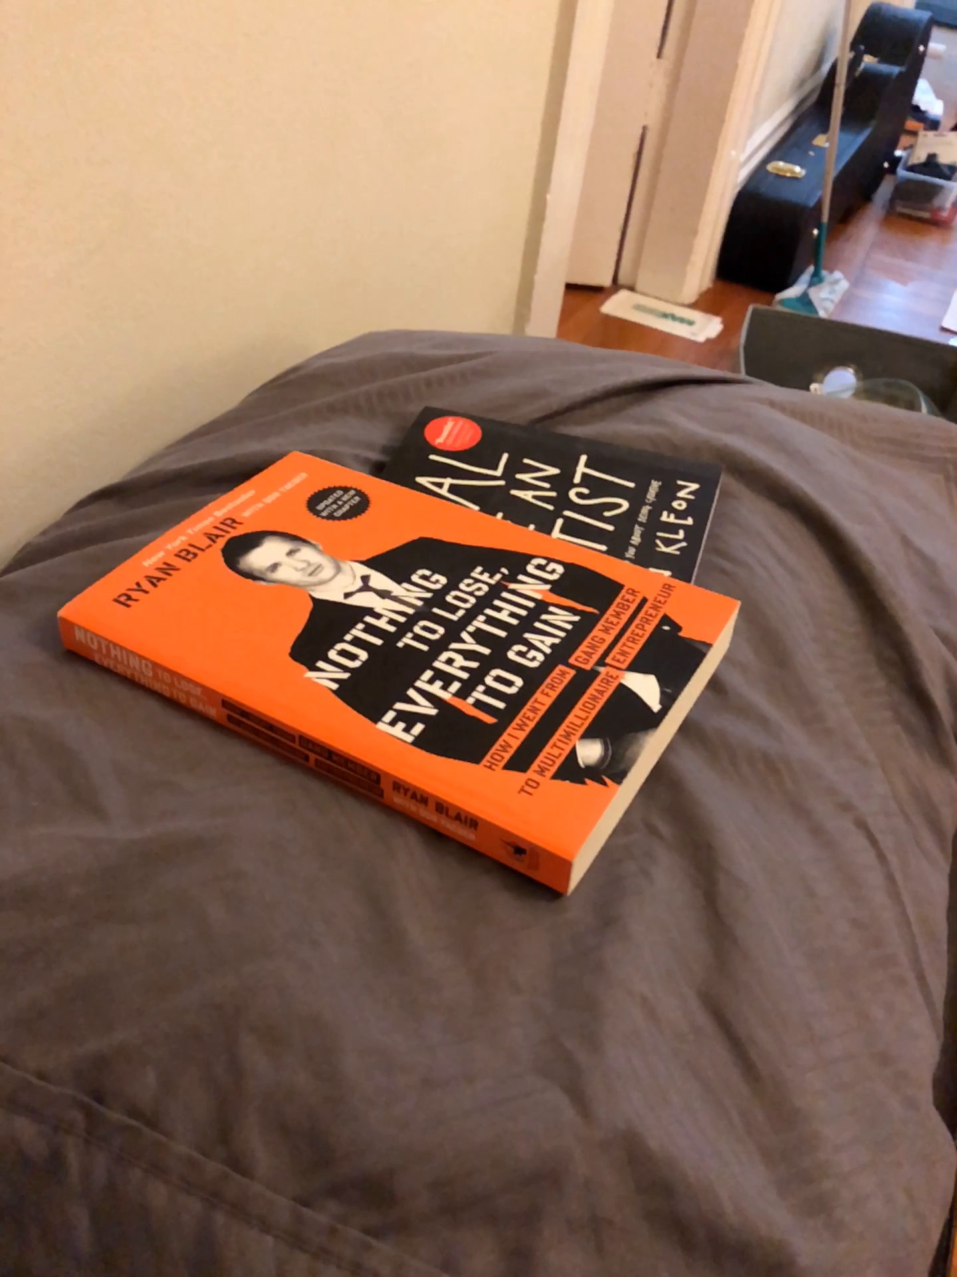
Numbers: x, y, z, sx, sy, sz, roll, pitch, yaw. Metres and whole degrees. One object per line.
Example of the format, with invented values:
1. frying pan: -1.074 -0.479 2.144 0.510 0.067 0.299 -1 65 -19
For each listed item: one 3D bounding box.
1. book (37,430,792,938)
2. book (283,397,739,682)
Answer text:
1. book: -0.017 -0.005 0.405 0.230 0.020 0.171 22 41 20
2. book: 0.023 -0.053 0.473 0.170 0.020 0.151 12 39 11
